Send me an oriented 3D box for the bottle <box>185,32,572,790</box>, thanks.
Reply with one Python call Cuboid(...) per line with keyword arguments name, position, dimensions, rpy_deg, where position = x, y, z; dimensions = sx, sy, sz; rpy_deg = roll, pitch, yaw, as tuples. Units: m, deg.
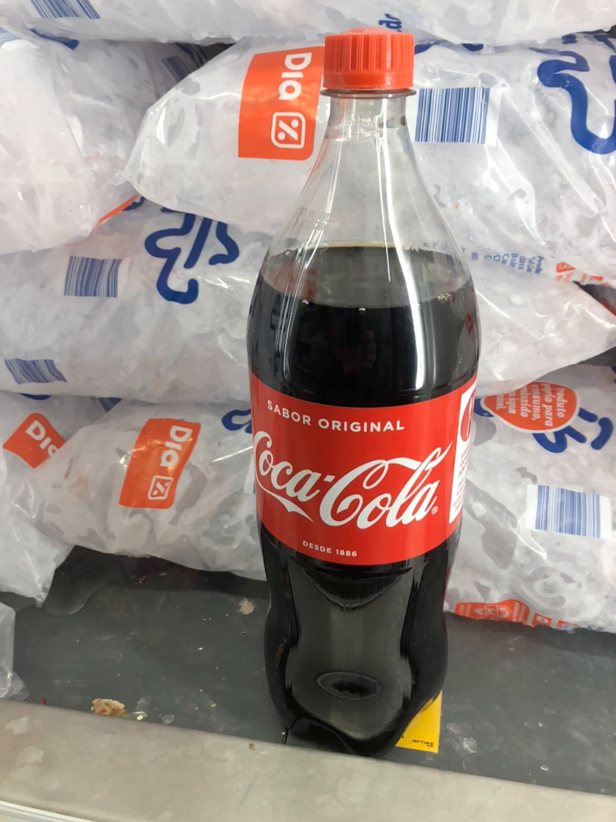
Cuboid(name="bottle", position=(0.026, 0.011, 0.277), dimensions=(0.100, 0.288, 0.081), rpy_deg=(10, 30, 17))
